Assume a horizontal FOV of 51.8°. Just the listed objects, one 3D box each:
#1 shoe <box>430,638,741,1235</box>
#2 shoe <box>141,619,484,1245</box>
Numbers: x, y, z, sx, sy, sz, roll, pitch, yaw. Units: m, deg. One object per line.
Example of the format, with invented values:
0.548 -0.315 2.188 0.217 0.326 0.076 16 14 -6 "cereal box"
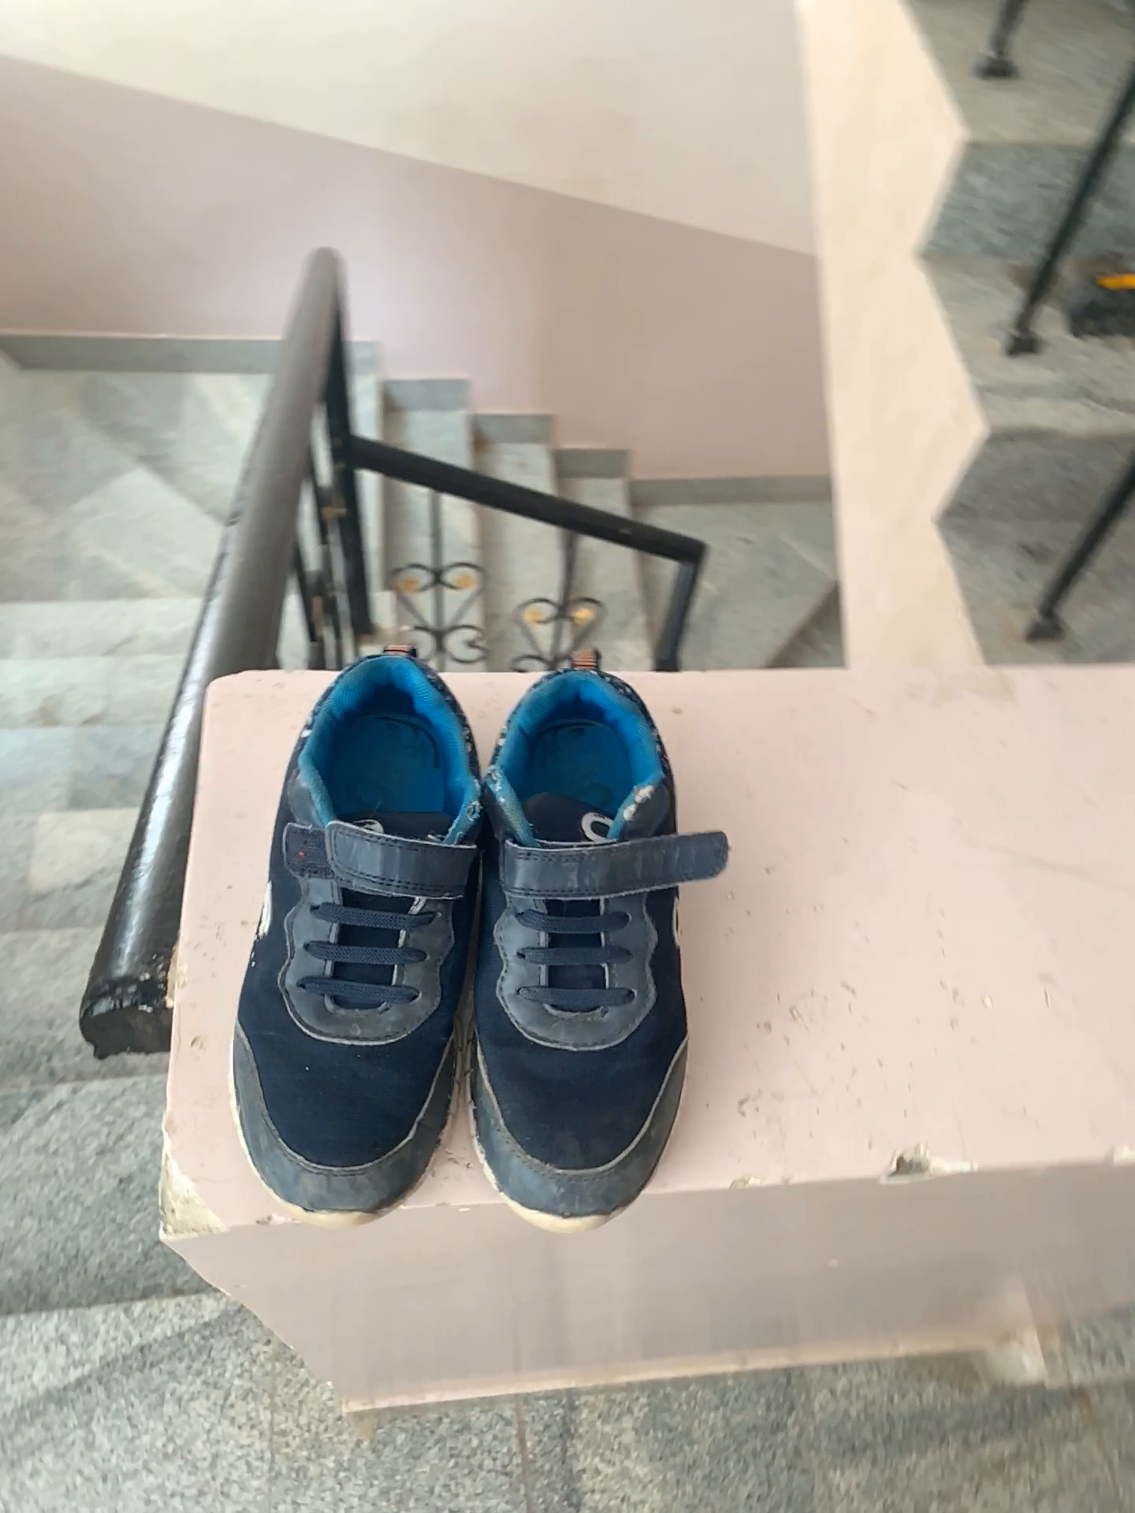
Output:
0.000 0.066 0.467 0.100 0.080 0.221 1 57 -5 "shoe"
-0.085 0.061 0.450 0.090 0.080 0.221 4 57 -3 "shoe"
